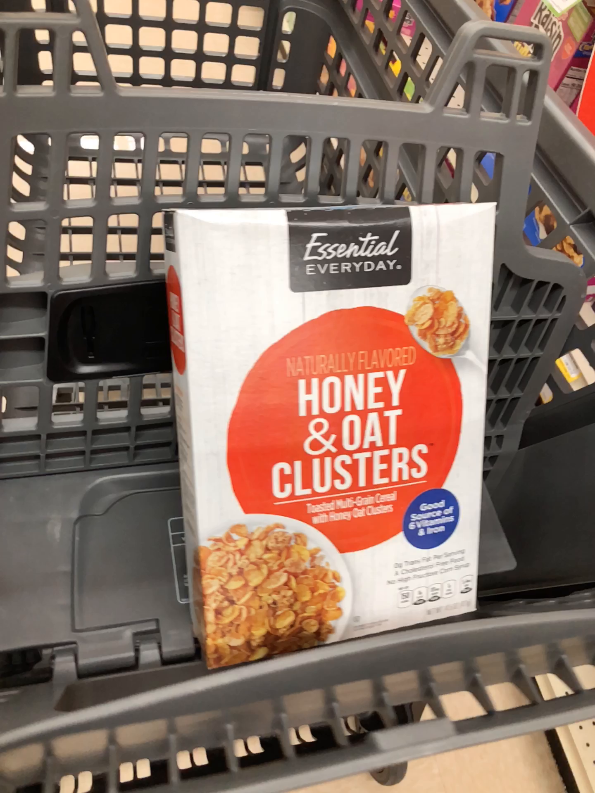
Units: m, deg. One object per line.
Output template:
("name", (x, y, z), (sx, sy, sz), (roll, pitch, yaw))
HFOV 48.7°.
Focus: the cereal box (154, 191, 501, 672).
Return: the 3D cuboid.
("cereal box", (0.019, 0.016, 0.424), (0.190, 0.280, 0.070), (-6, 17, -17))
